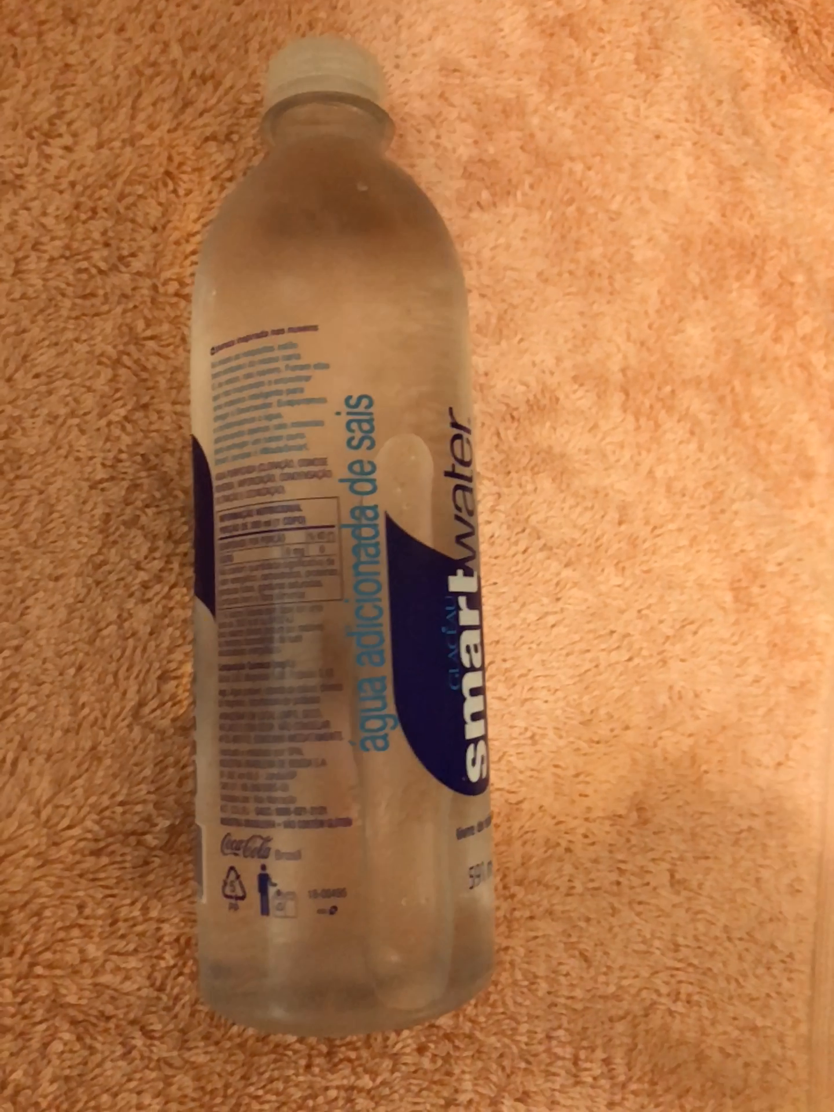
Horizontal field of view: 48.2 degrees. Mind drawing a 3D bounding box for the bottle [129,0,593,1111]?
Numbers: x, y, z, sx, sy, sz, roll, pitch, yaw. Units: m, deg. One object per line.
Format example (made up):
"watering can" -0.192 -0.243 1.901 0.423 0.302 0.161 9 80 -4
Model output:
"bottle" -0.012 -0.009 0.201 0.080 0.050 0.230 0 87 -37
